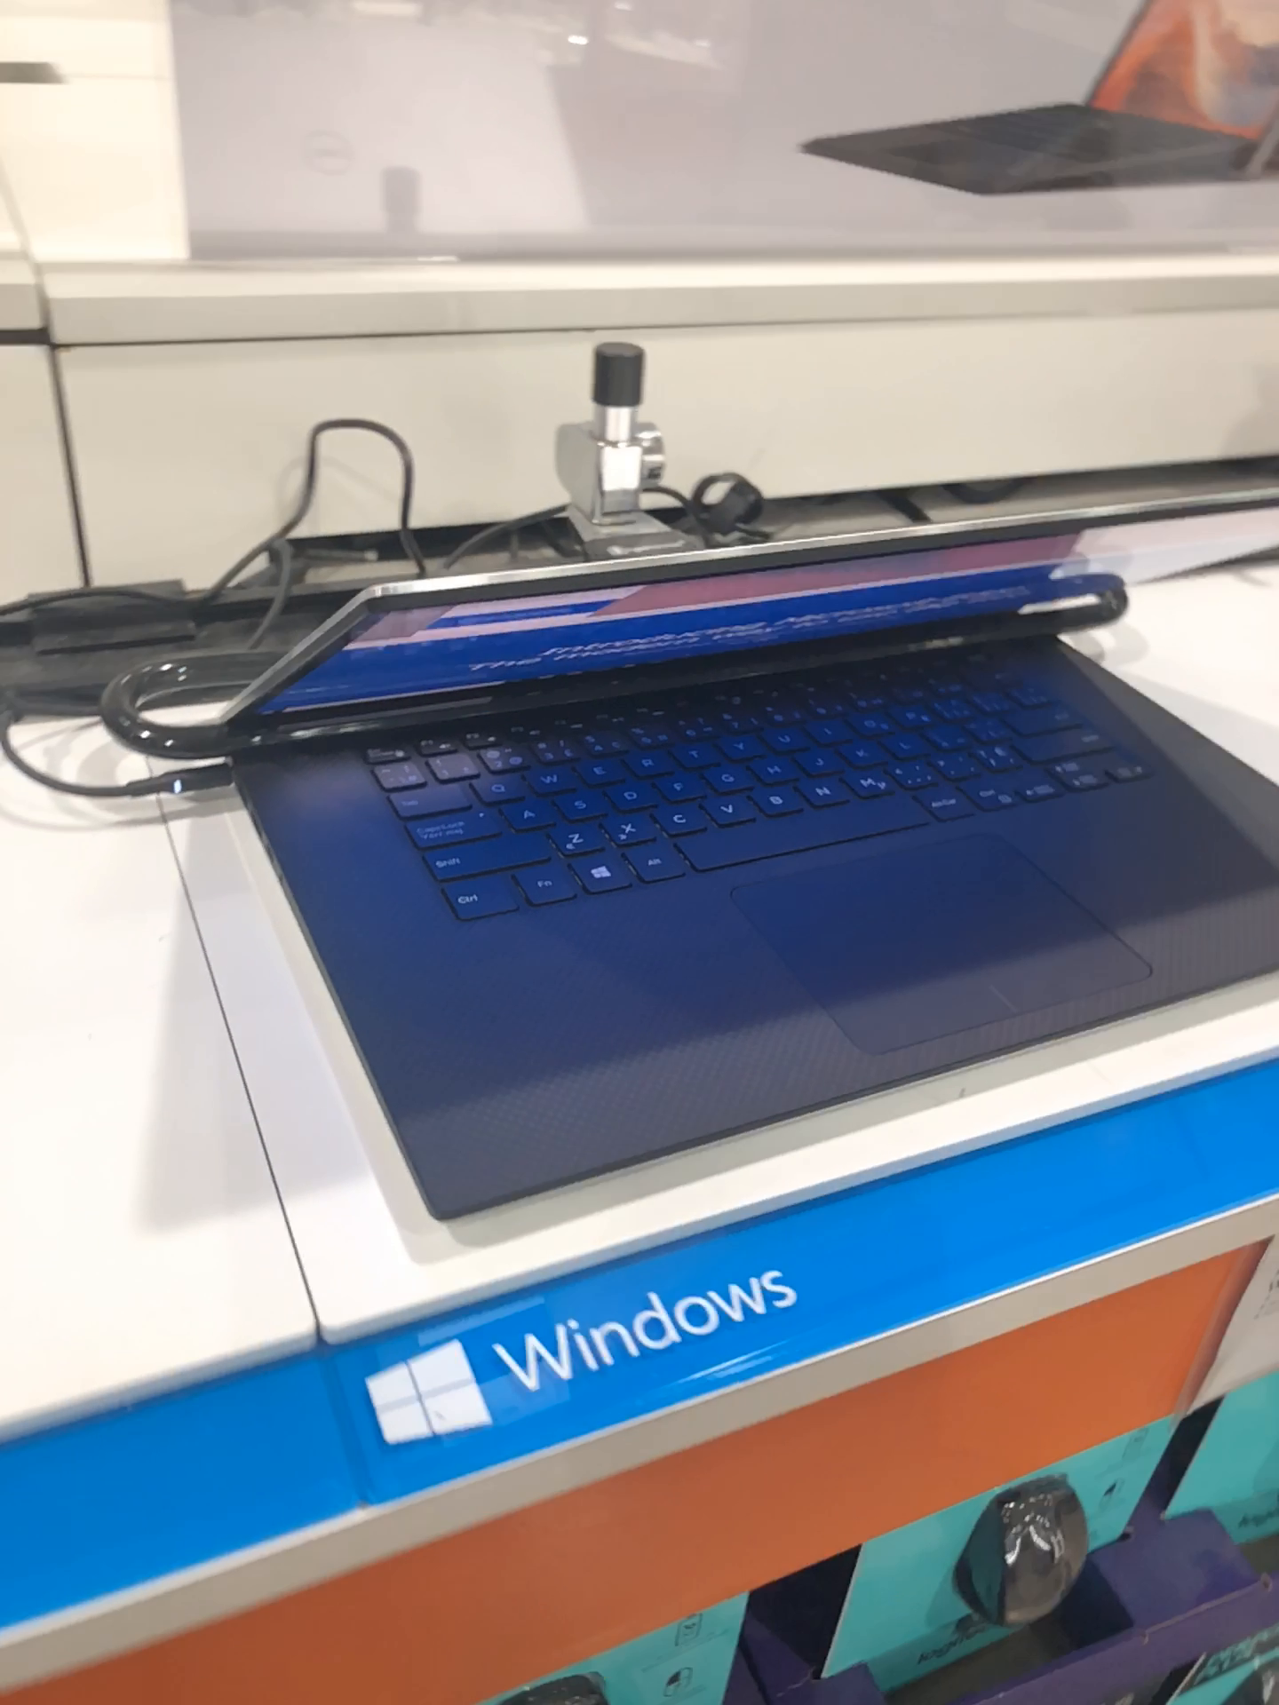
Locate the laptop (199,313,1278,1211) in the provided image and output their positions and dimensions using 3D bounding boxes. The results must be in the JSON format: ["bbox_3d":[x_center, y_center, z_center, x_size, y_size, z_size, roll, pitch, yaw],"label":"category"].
[{"bbox_3d":[0.068,-0.064,0.438,0.345,0.133,0.218,-12,38,-25],"label":"laptop"}]
